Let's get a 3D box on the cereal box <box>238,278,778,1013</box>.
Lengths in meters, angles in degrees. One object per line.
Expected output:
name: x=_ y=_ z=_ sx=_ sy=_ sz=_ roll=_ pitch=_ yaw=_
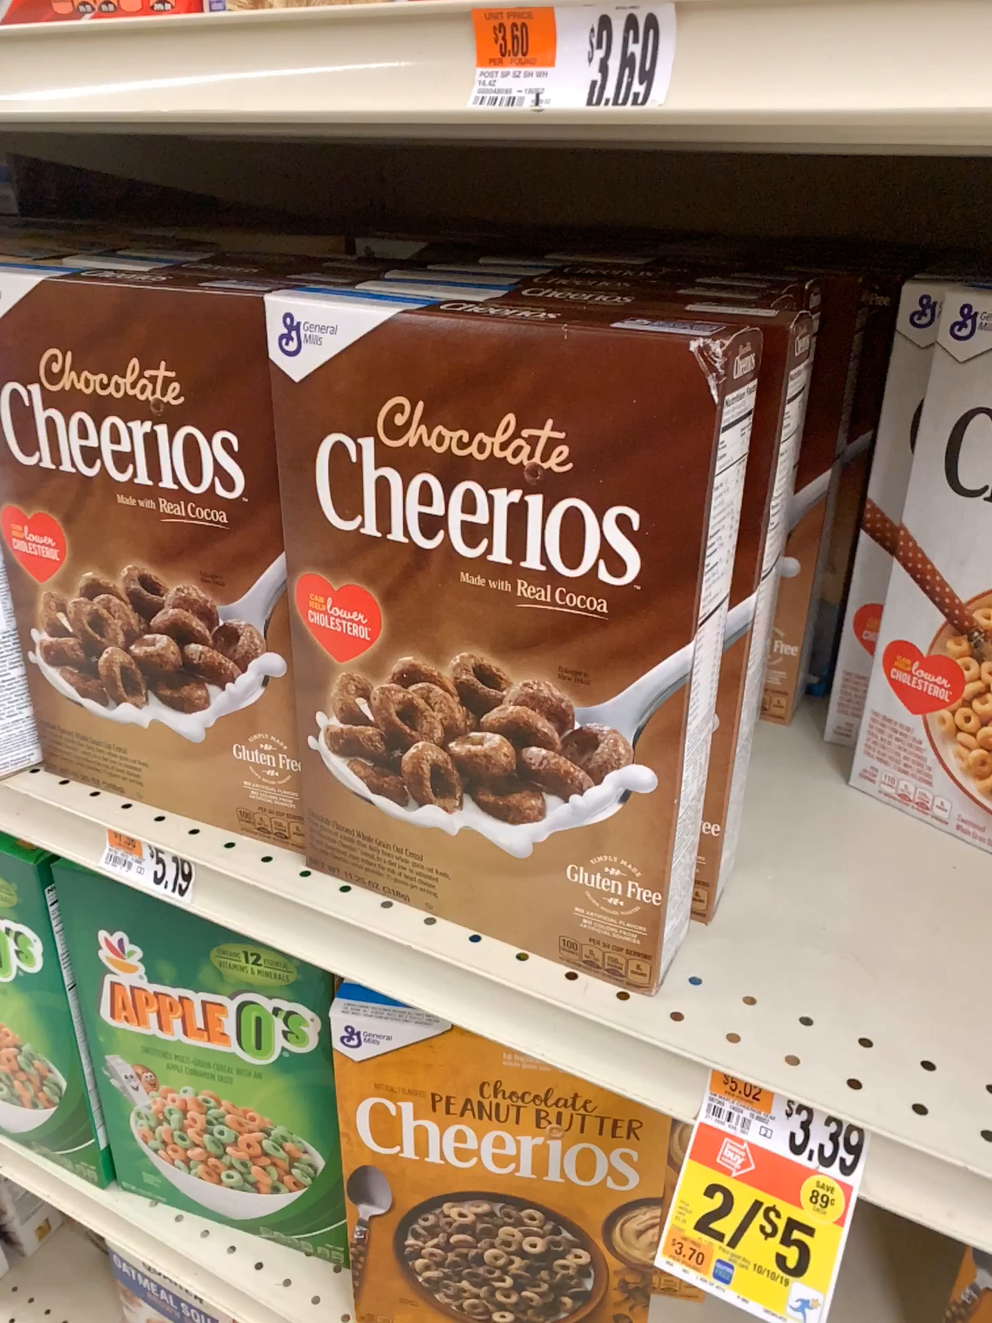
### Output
cereal box: x=-0.002 y=-0.008 z=0.468 sx=0.210 sy=0.298 sz=0.060 roll=15 pitch=30 yaw=26
